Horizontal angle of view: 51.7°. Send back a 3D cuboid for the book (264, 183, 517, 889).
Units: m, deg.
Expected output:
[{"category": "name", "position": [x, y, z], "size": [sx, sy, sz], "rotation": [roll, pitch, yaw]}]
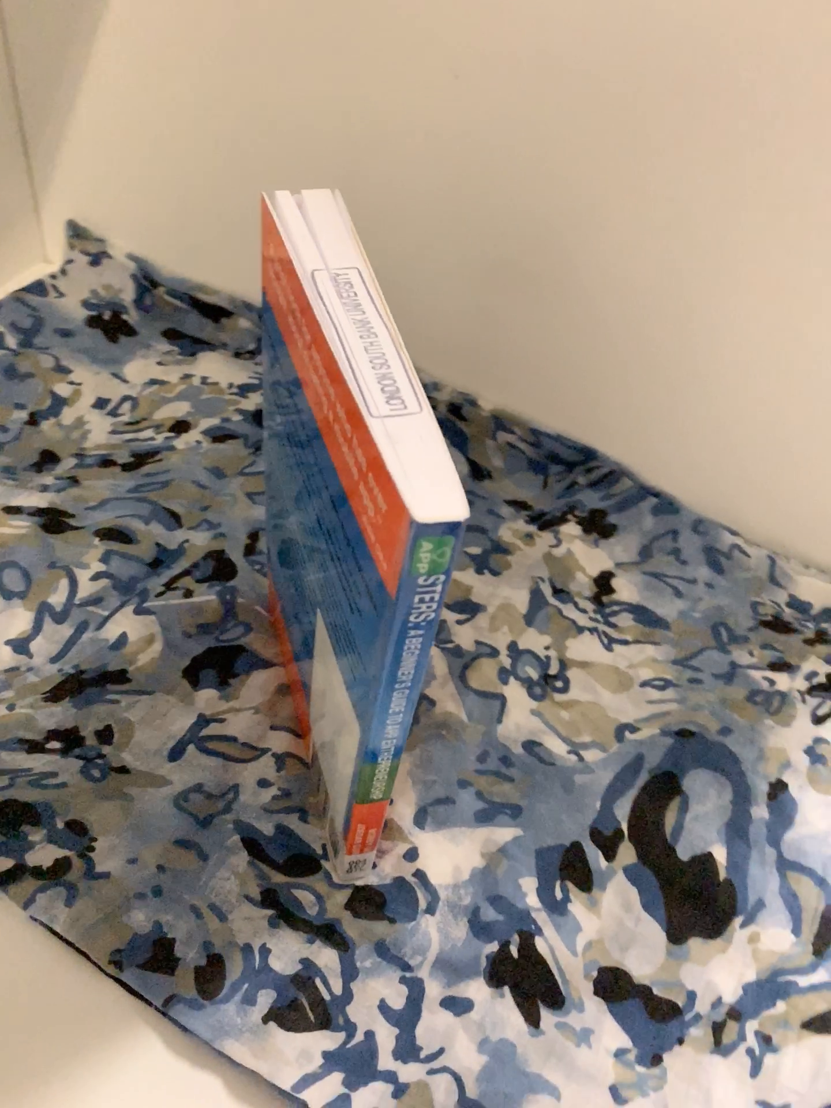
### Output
[{"category": "book", "position": [-0.025, 0.006, 0.294], "size": [0.024, 0.203, 0.141], "rotation": [-9, 52, -17]}]
